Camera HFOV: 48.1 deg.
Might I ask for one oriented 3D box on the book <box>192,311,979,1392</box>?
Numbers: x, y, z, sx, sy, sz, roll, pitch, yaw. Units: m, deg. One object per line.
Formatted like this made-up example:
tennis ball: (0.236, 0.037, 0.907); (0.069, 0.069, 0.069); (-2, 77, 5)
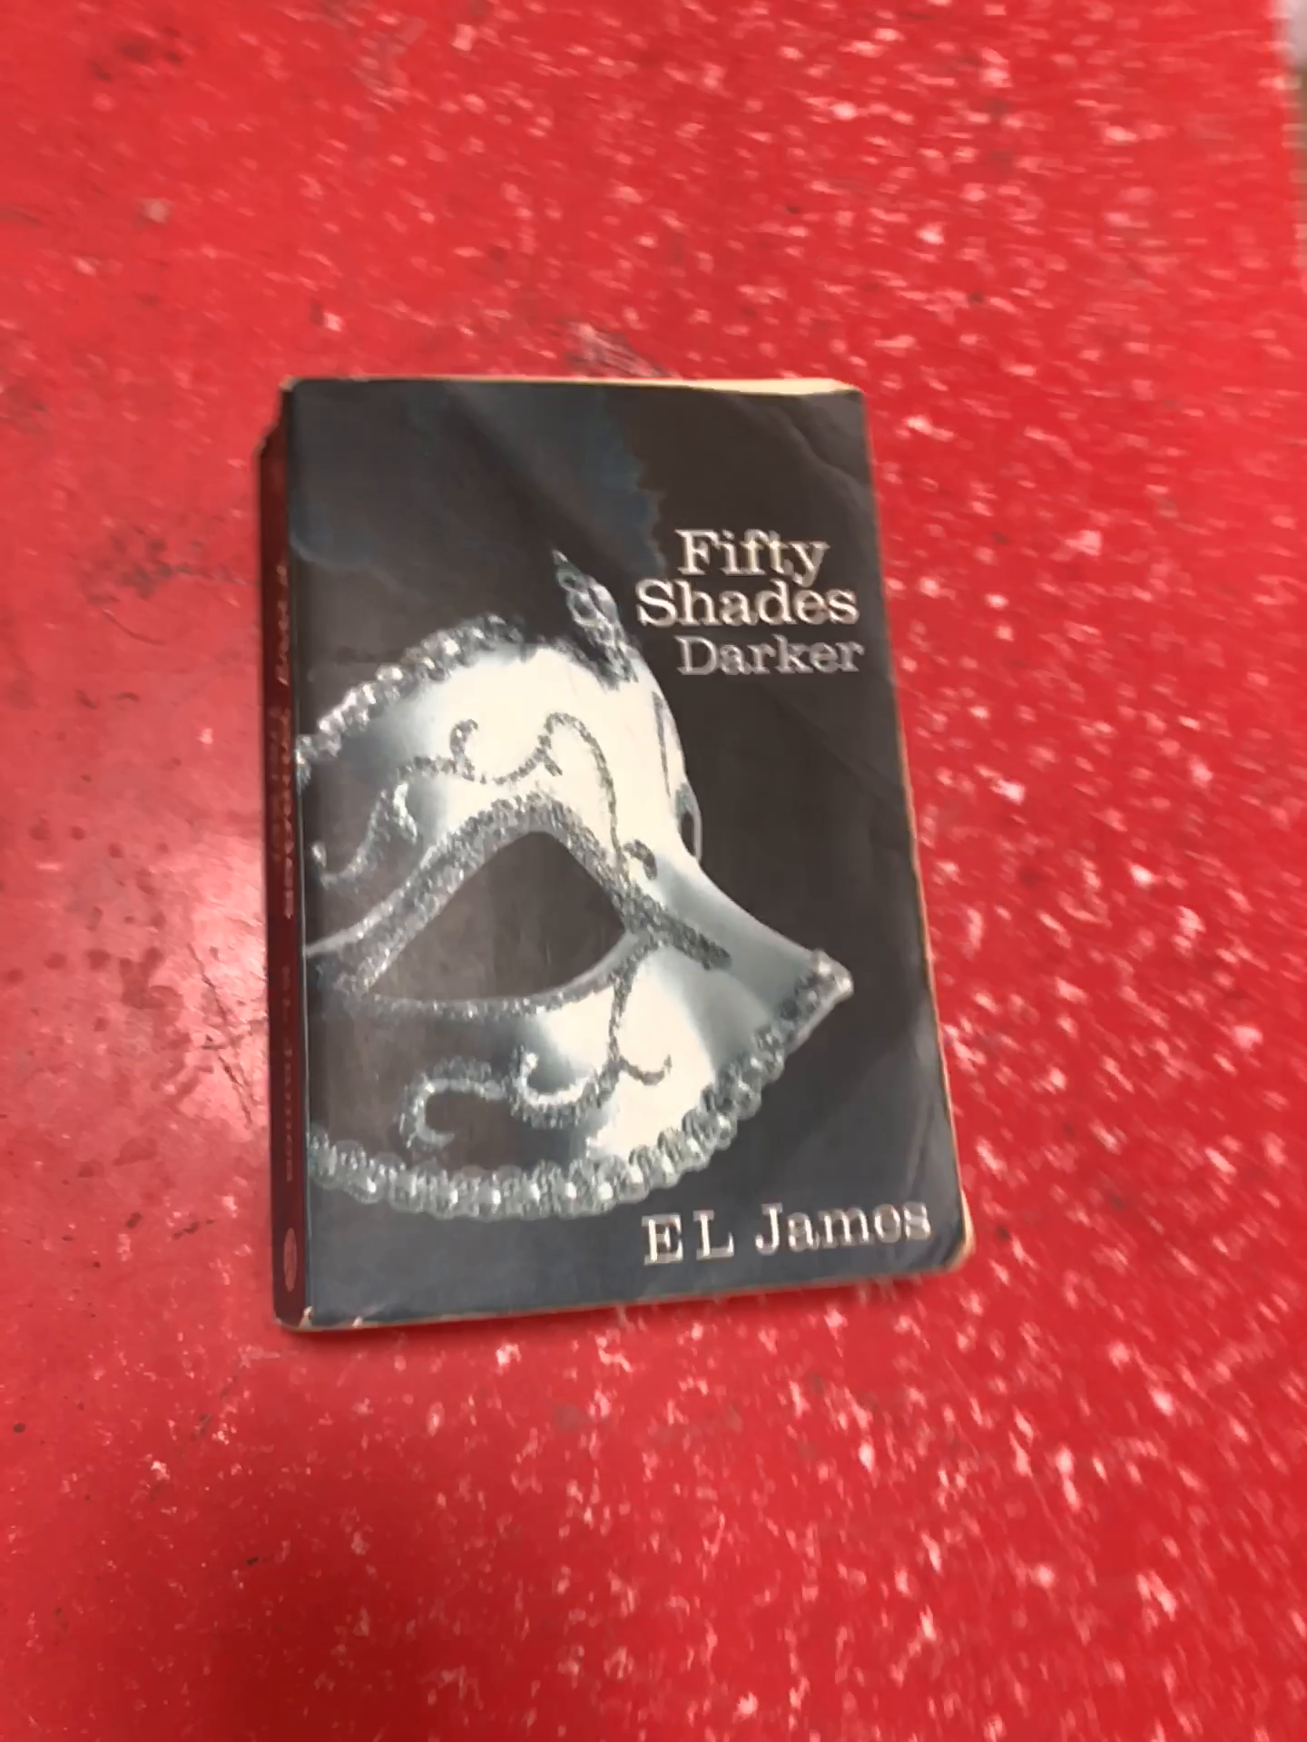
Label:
book: (-0.020, -0.010, 0.312); (0.140, 0.050, 0.210); (-3, 77, -10)
